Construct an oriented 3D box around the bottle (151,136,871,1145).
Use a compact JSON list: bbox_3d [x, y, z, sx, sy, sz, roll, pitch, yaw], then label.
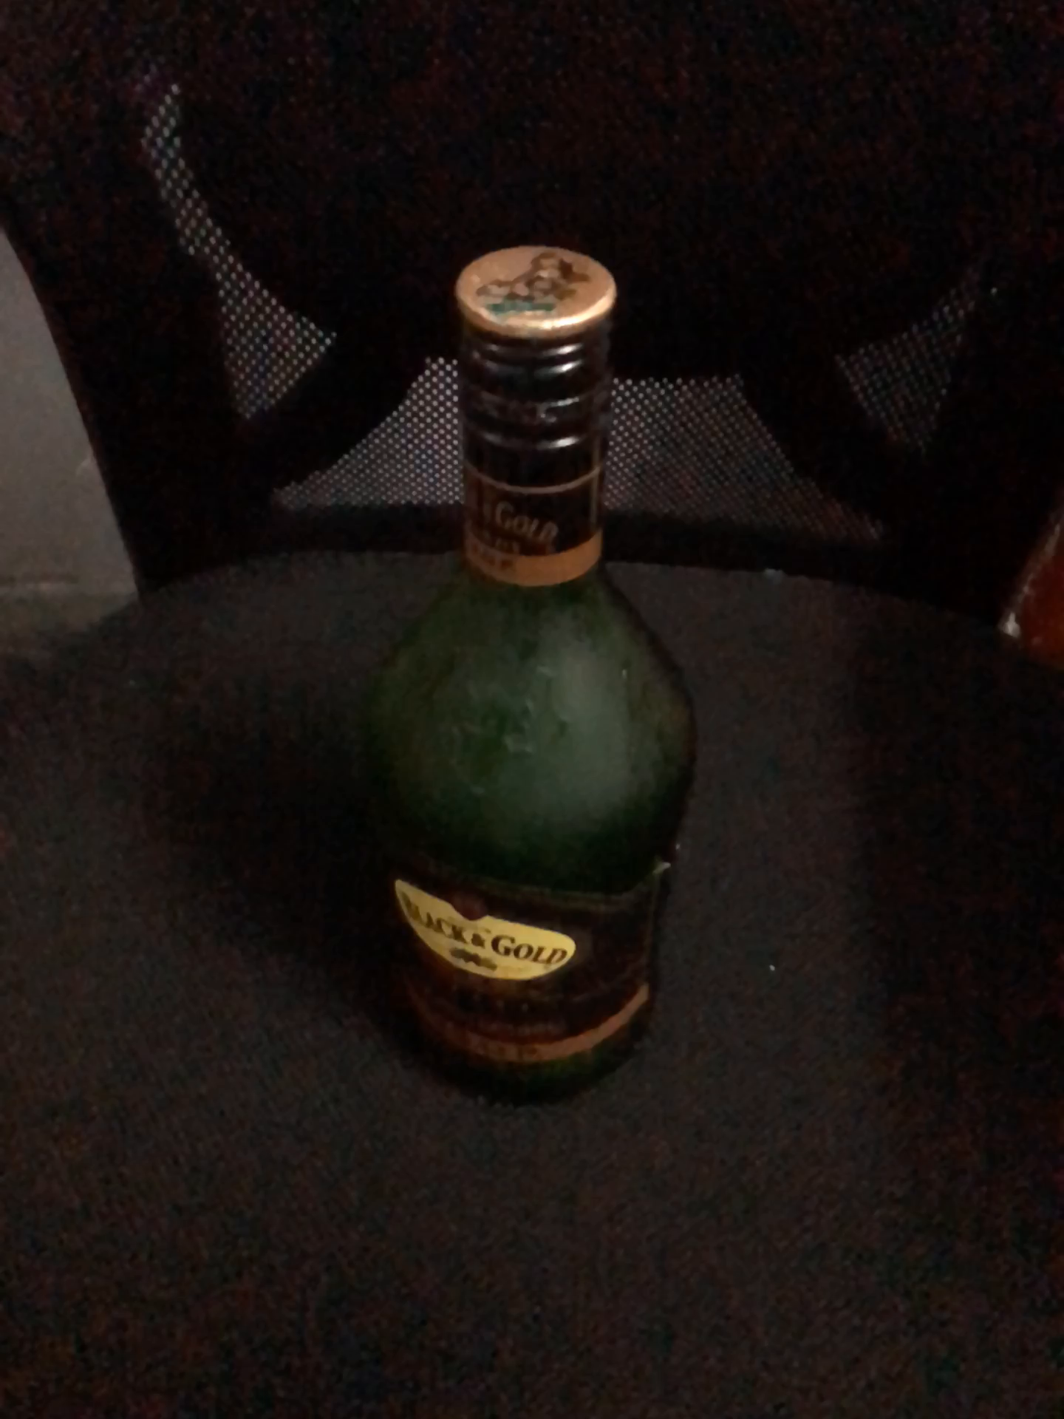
[{"bbox_3d":[-0.006,0.009,0.317,0.110,0.269,0.080,18,51,12],"label":"bottle"}]
